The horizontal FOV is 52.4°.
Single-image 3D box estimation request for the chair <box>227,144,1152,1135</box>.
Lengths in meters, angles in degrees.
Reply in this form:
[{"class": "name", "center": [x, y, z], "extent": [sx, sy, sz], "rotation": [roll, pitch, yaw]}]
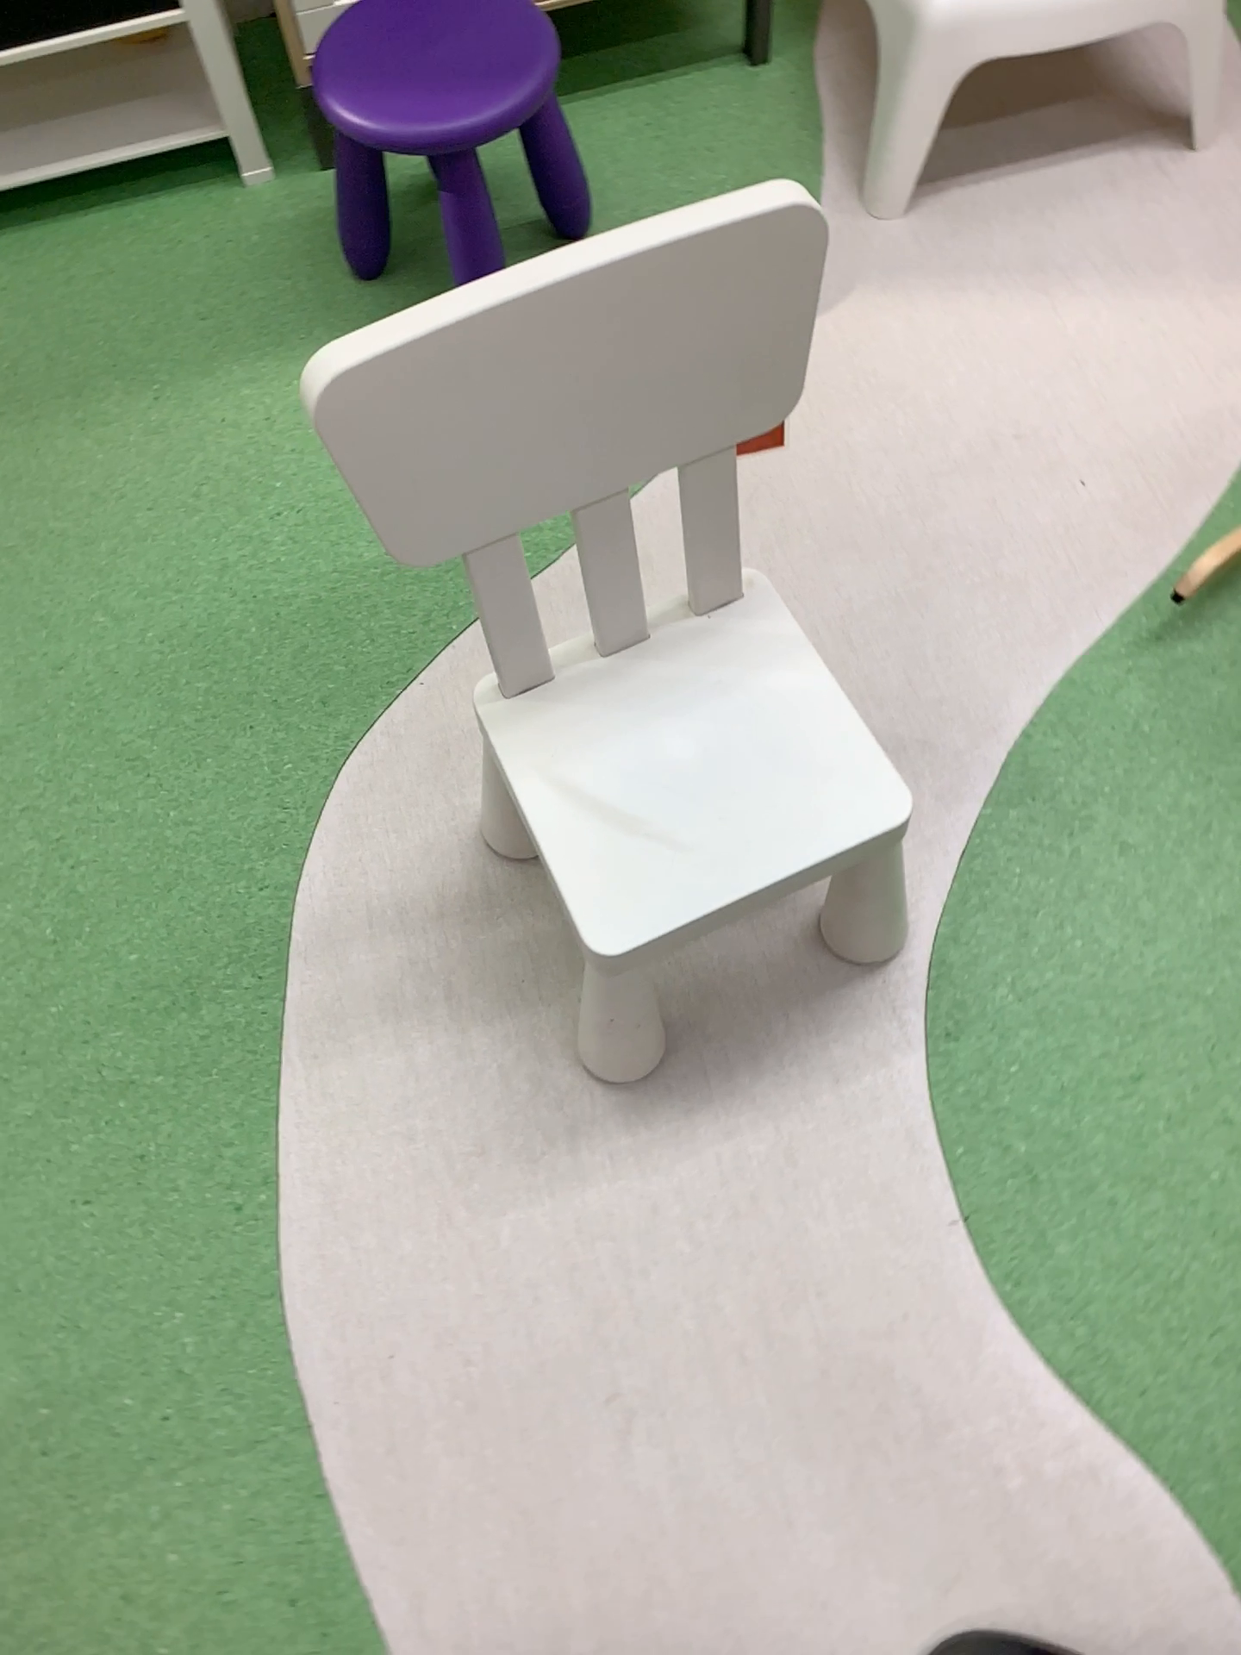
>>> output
[{"class": "chair", "center": [0.035, -0.096, 1.048], "extent": [0.420, 0.599, 0.440], "rotation": [-24, 66, -8]}]
